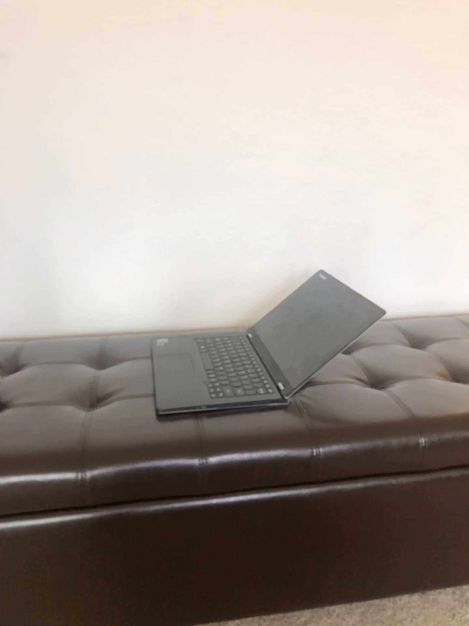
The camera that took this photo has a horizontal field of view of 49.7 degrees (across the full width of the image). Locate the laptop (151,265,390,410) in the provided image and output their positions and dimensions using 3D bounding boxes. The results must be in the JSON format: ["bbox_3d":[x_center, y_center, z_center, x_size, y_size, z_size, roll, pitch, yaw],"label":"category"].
[{"bbox_3d":[0.033,0.020,0.807,0.317,0.115,0.262,-5,19,-10],"label":"laptop"}]
